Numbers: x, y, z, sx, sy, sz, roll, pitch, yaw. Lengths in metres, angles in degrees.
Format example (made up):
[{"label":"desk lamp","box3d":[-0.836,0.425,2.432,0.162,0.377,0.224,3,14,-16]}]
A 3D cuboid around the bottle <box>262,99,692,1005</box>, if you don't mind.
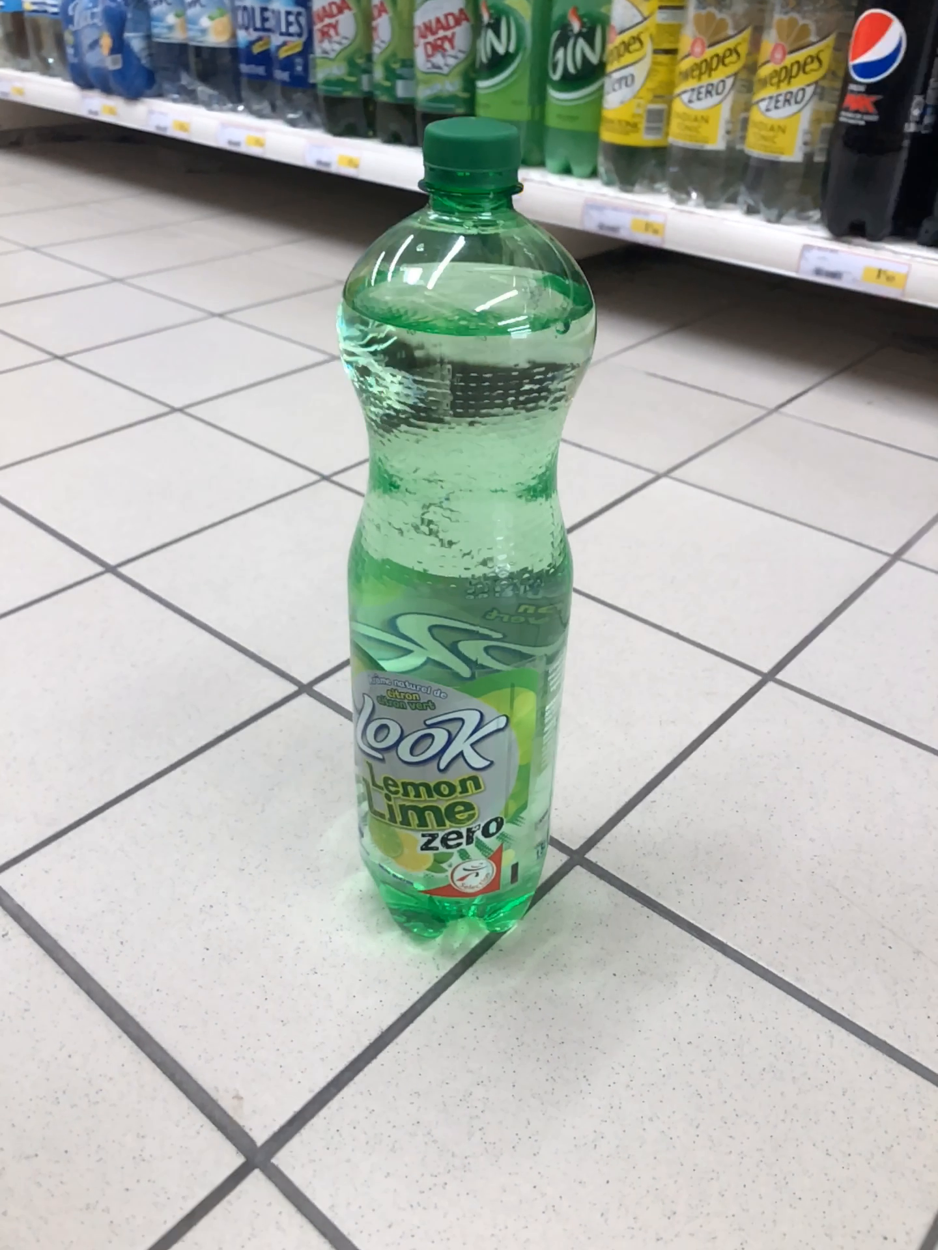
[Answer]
[{"label":"bottle","box3d":[0.003,-0.014,0.393,0.100,0.318,0.101,1,32,-1]}]
